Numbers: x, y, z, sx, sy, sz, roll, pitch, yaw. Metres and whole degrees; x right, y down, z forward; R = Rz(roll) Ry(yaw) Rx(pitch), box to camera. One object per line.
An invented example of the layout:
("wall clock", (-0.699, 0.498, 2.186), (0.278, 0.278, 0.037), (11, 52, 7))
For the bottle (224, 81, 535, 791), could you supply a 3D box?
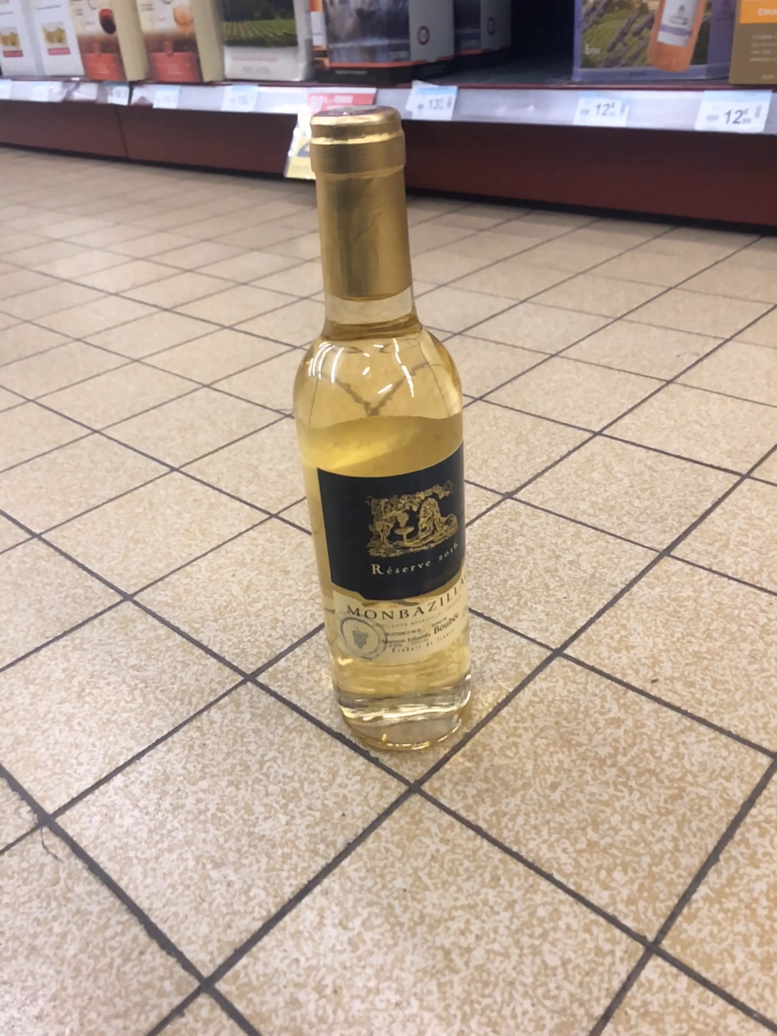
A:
("bottle", (0.003, -0.021, 0.312), (0.070, 0.239, 0.070), (-4, 31, 2))
